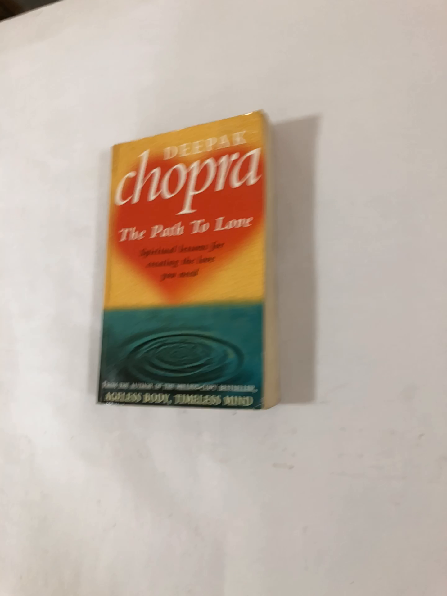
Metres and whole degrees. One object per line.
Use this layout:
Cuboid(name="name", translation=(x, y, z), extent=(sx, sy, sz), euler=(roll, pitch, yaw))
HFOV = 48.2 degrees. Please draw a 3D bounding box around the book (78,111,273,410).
Cuboid(name="book", translation=(-0.033, -0.023, 0.365), extent=(0.130, 0.040, 0.200), euler=(-4, 78, 22))
